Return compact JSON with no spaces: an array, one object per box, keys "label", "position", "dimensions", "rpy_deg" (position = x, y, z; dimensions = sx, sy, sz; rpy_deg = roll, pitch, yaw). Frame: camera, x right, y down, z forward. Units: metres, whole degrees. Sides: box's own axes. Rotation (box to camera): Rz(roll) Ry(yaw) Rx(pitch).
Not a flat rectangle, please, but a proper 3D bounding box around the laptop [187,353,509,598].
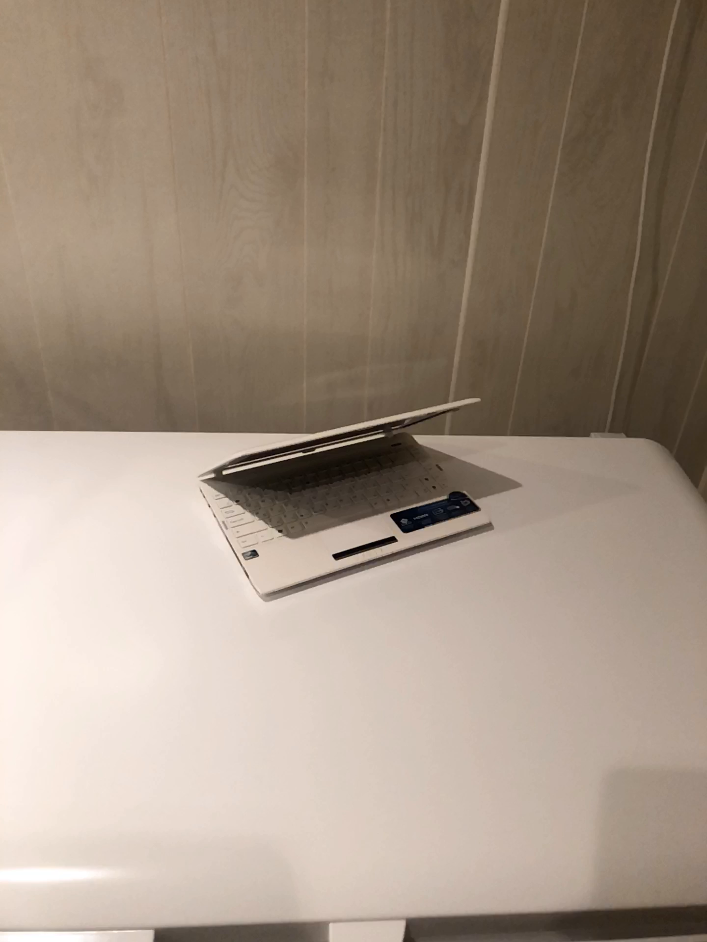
[{"label":"laptop","position":[-0.010,-0.010,0.899],"dimensions":[0.299,0.115,0.198],"rpy_deg":[-15,42,-25]}]
